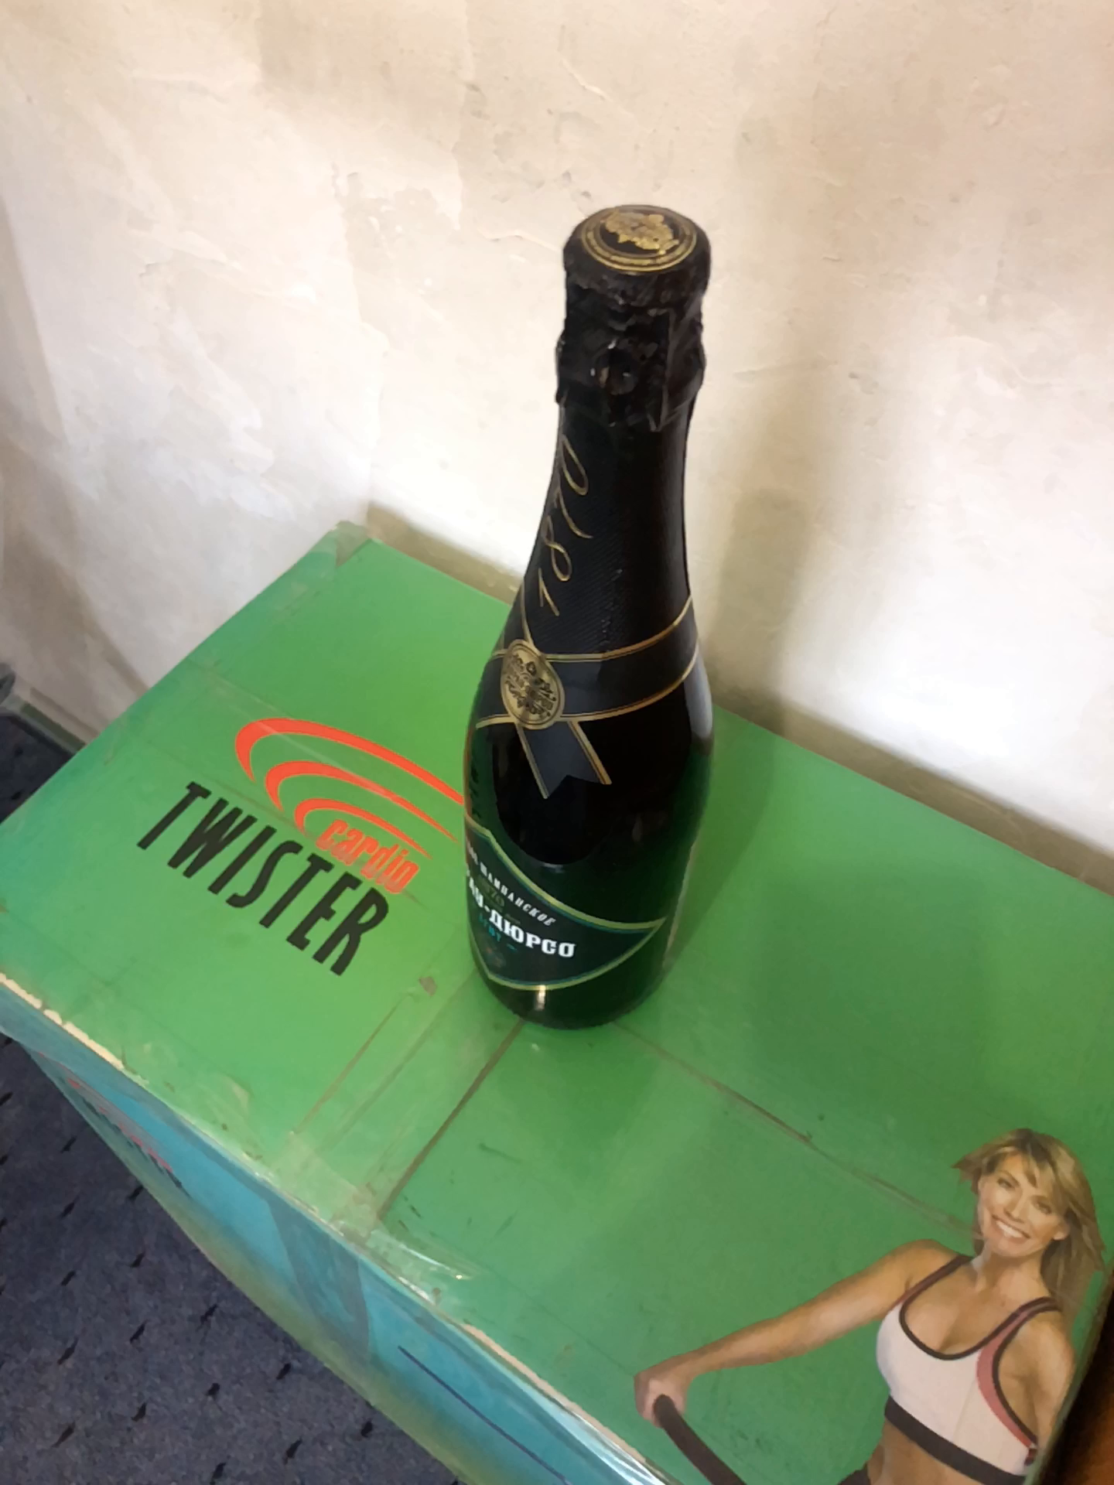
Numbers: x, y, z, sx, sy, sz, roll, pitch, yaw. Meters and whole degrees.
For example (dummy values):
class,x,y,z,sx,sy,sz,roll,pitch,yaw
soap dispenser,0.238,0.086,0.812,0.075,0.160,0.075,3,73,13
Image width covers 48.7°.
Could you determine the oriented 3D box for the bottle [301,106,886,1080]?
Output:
class,x,y,z,sx,sy,sz,roll,pitch,yaw
bottle,0.008,-0.015,0.384,0.090,0.300,0.090,0,52,1
